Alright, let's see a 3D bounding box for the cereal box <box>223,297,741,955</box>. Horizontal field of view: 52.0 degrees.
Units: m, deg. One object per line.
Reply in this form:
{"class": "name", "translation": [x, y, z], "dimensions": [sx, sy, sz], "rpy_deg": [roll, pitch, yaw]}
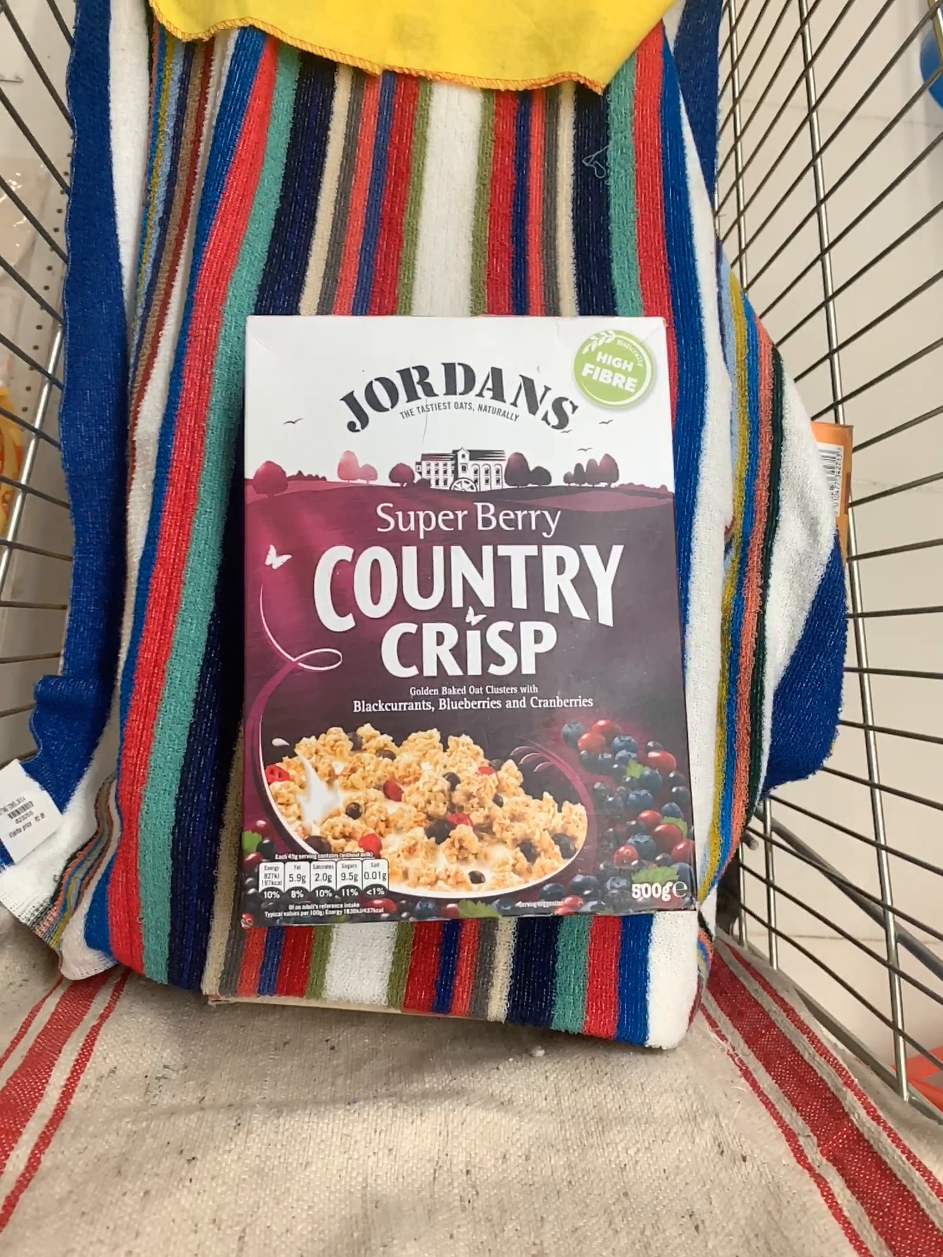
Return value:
{"class": "cereal box", "translation": [0.000, -0.004, 0.384], "dimensions": [0.180, 0.060, 0.240], "rpy_deg": [-1, 81, -2]}
